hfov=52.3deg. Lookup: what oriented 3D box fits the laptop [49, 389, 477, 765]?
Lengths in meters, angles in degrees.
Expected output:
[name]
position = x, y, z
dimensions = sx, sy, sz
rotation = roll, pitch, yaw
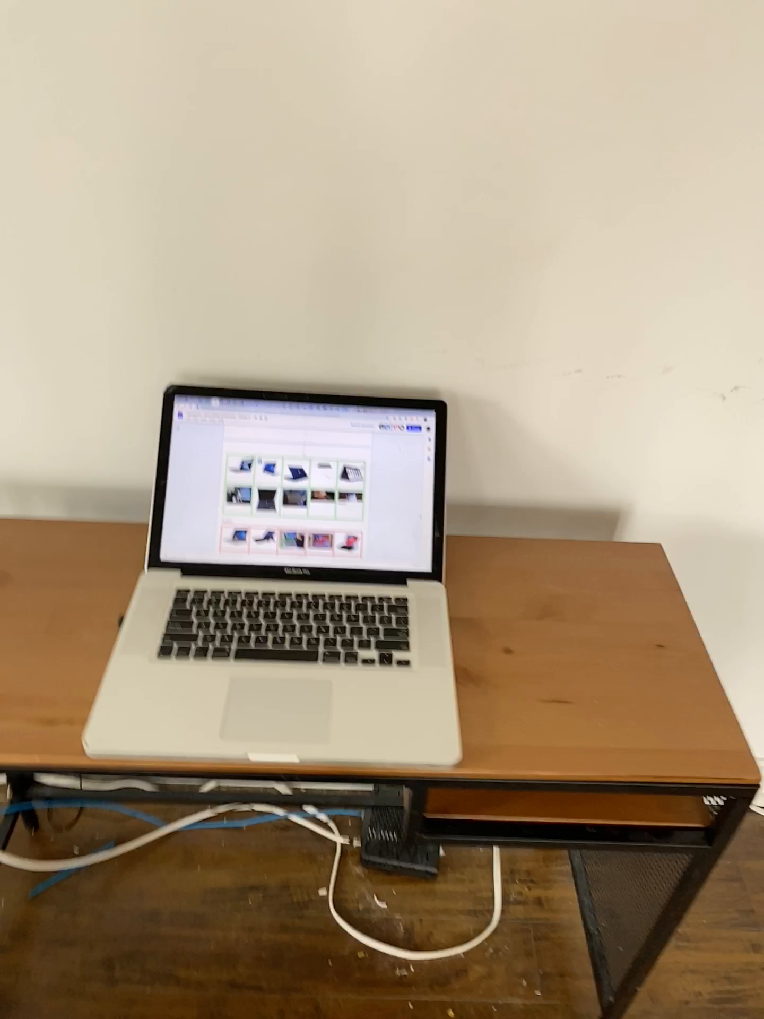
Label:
[laptop]
position = -0.103, 0.048, 0.891
dimensions = 0.367, 0.151, 0.441
rotation = 3, 38, -2
